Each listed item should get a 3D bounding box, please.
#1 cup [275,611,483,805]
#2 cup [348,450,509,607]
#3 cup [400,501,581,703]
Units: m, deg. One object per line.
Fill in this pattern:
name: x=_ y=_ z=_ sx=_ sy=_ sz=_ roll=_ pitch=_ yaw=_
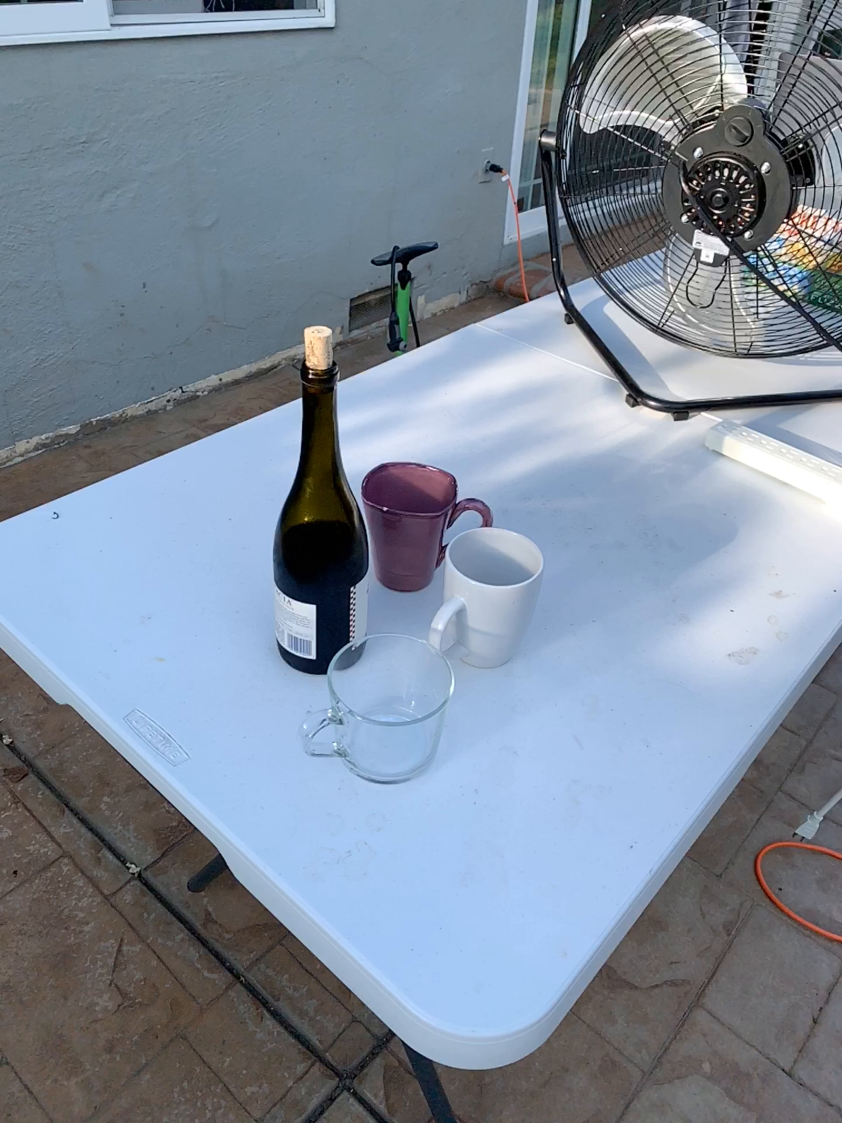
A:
cup: x=-0.036 y=0.114 z=0.686 sx=0.140 sy=0.089 sz=0.091 roll=-9 pitch=38 yaw=-16
cup: x=0.008 y=-0.036 z=0.881 sx=0.140 sy=0.099 sz=0.101 roll=11 pitch=37 yaw=10
cup: x=0.062 y=0.032 z=0.776 sx=0.090 sy=0.099 sz=0.140 roll=27 pitch=43 yaw=29
